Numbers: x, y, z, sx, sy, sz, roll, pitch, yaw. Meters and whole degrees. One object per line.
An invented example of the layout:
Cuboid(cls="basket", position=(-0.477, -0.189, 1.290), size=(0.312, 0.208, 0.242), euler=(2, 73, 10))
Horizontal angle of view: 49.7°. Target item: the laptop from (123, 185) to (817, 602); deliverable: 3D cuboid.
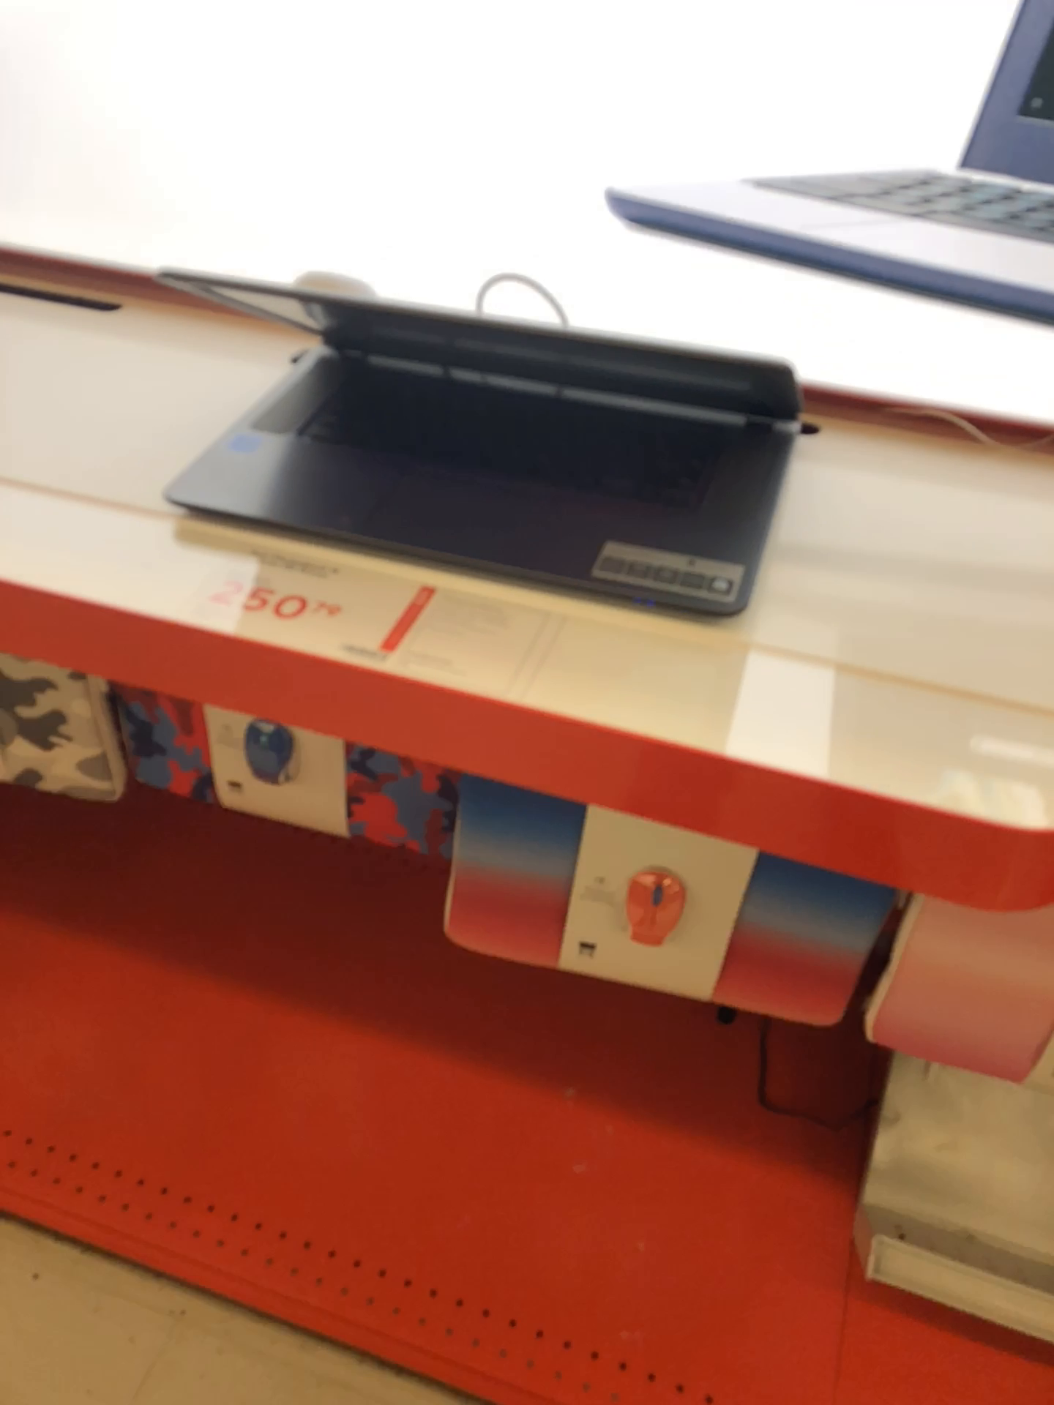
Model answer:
Cuboid(cls="laptop", position=(-0.021, -0.214, 0.727), size=(0.363, 0.122, 0.238), euler=(12, 41, 12))
